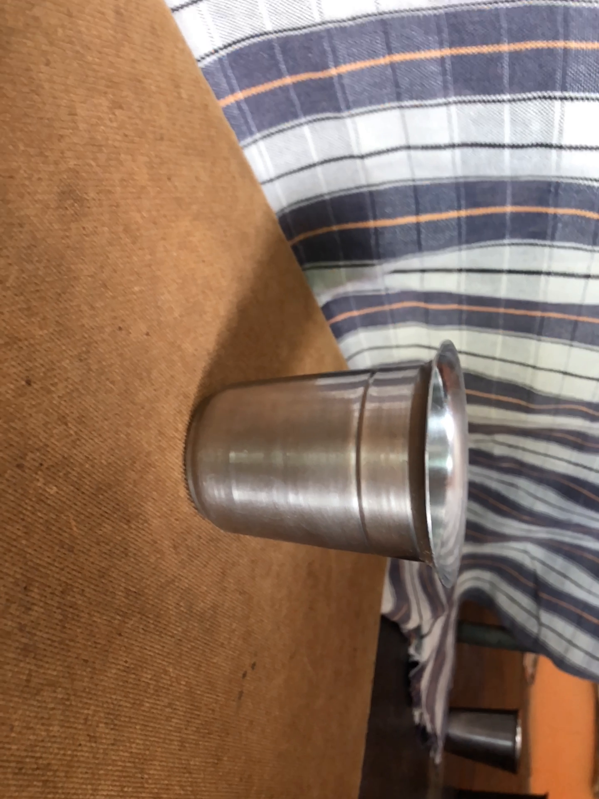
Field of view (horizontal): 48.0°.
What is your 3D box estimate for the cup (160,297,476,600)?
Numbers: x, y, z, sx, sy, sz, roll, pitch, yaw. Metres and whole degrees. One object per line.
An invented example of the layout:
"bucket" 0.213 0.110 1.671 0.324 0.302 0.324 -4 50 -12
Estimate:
"cup" 0.014 0.014 0.232 0.070 0.080 0.070 -2 90 -69
